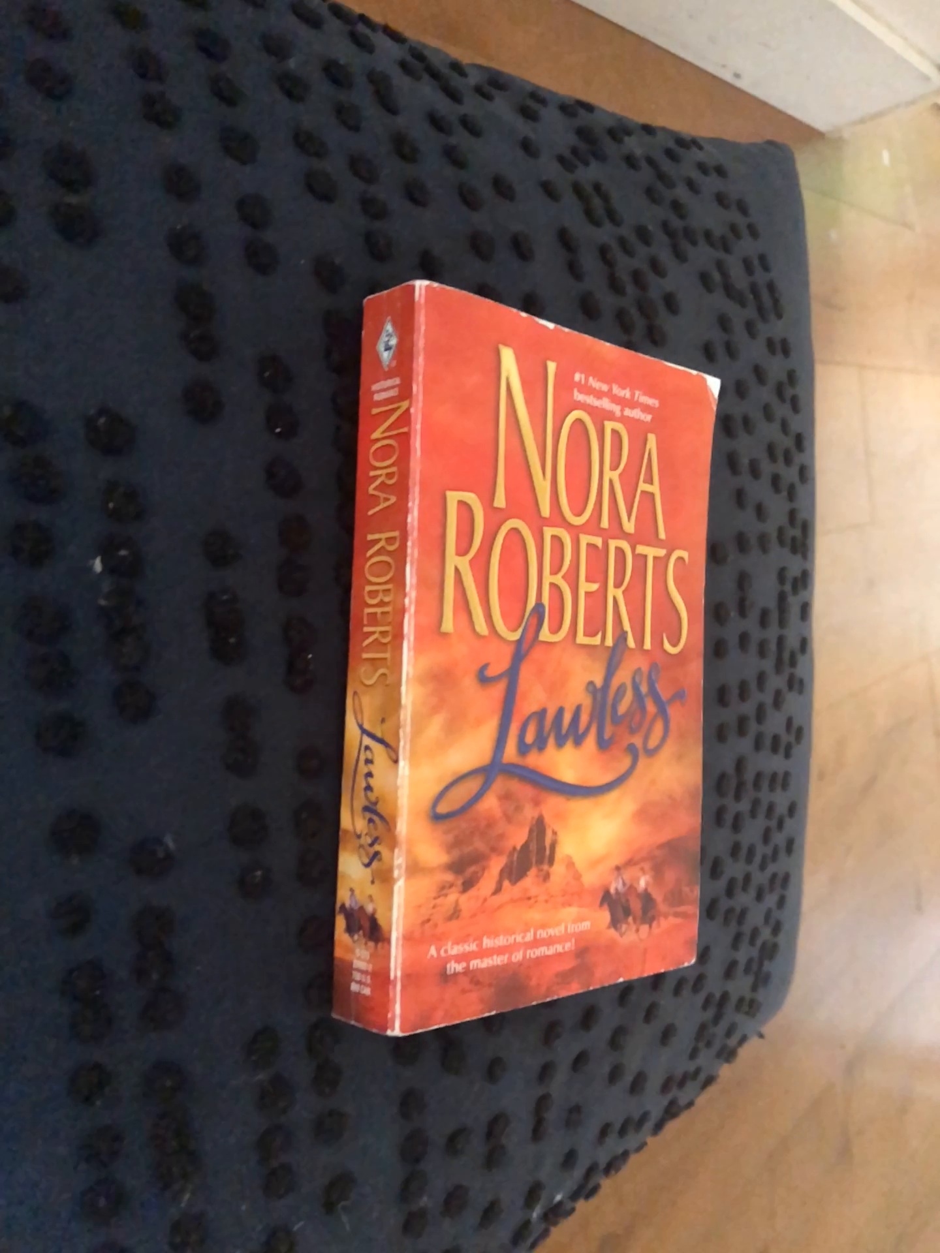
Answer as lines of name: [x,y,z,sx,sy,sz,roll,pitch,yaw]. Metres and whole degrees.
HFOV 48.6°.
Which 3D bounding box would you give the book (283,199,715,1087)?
book: [0.015,0.005,0.269,0.121,0.040,0.180,5,84,-48]
